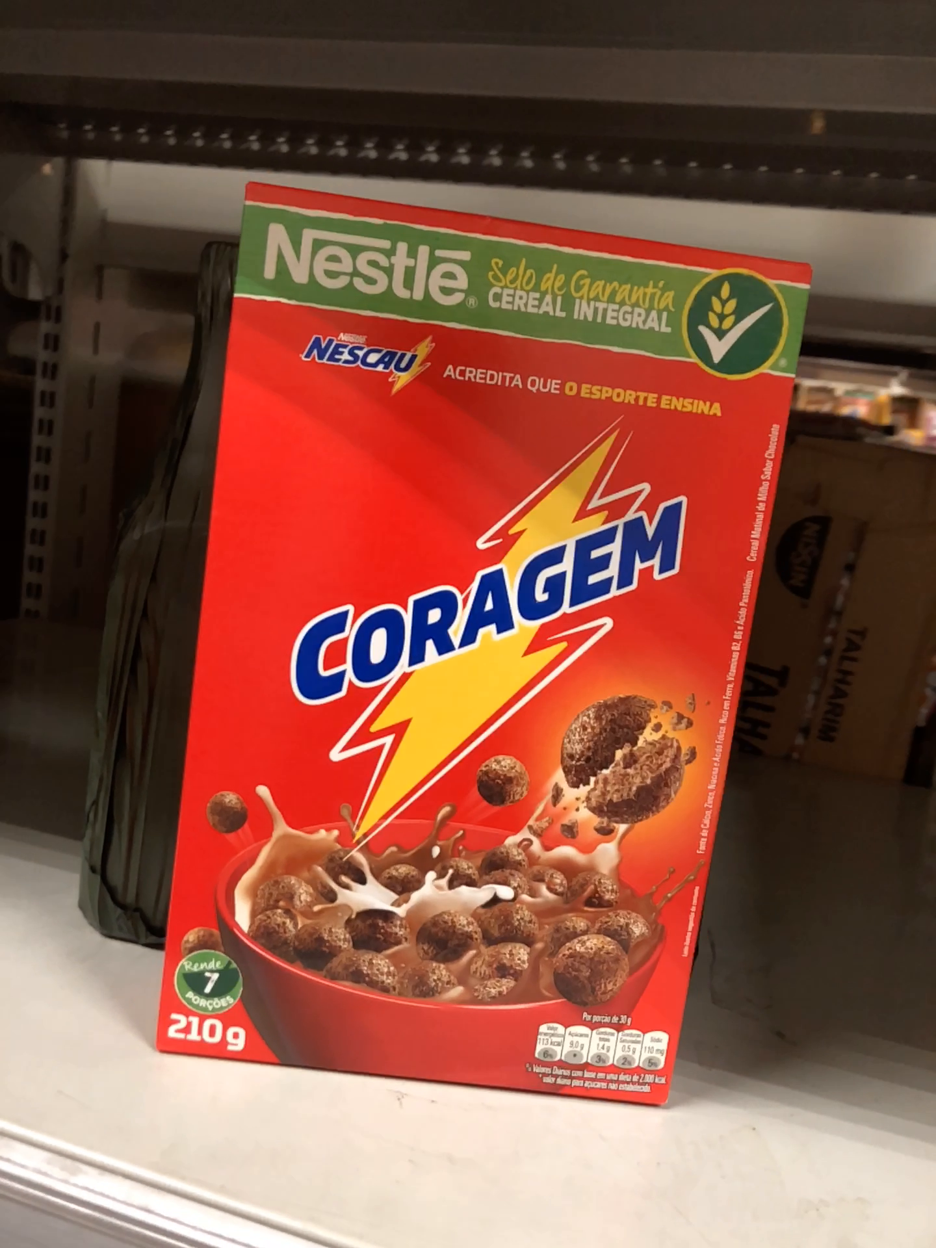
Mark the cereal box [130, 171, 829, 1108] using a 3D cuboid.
[{"bbox_3d":[-0.001,0.007,0.323,0.170,0.249,0.060,6,7,-1],"label":"cereal box"}]
